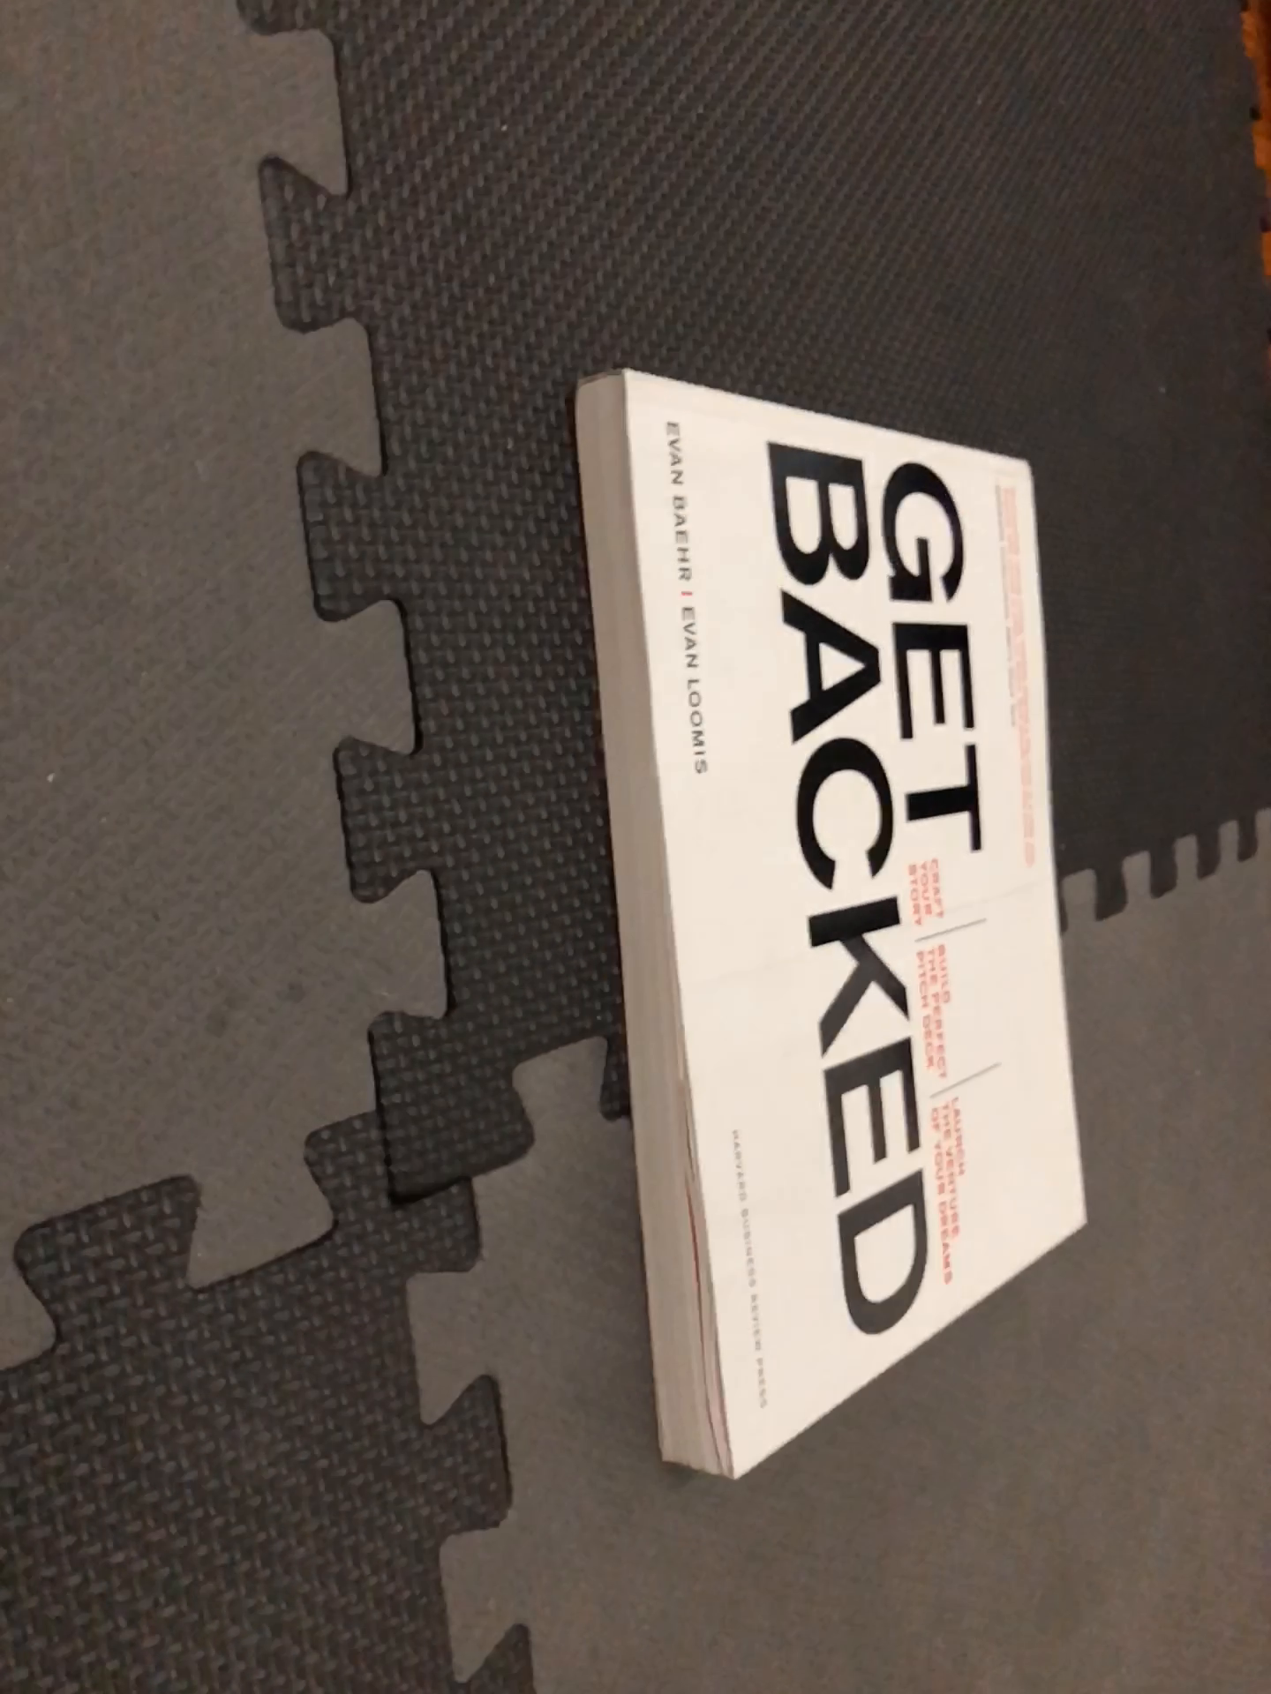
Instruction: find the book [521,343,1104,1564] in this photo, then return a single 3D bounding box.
[{"bbox_3d":[0.064,0.016,0.383,0.211,0.020,0.260,-8,95,-48],"label":"book"}]
